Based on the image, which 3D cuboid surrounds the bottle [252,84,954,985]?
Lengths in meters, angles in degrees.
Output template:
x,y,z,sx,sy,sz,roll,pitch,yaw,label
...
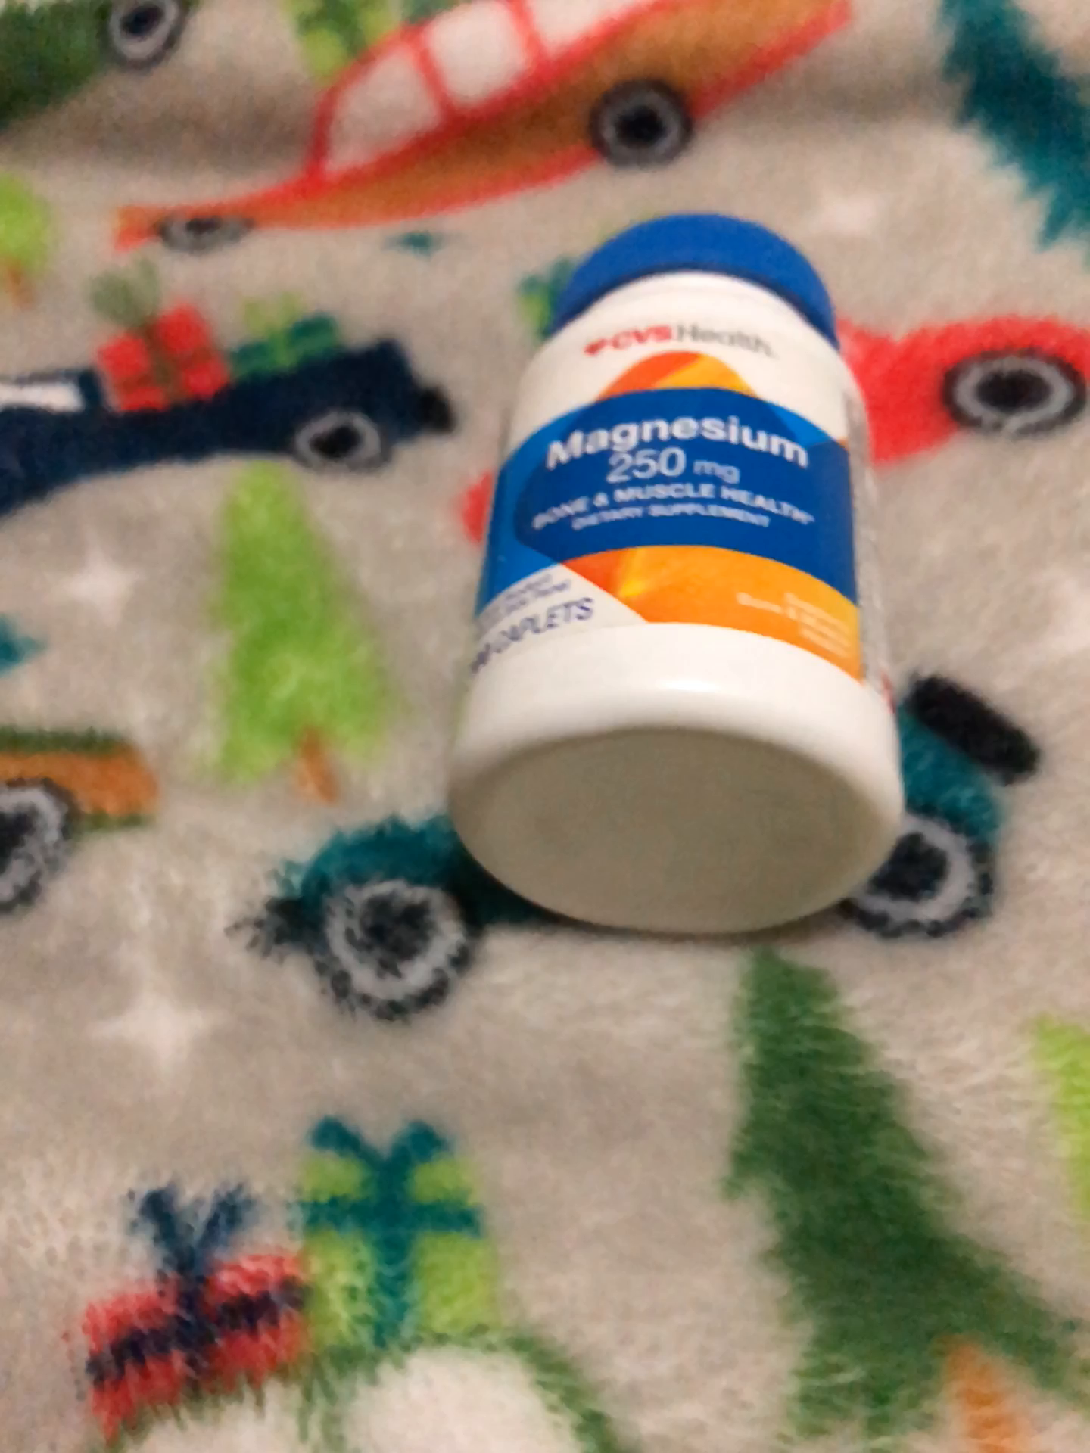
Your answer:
x,y,z,sx,sy,sz,roll,pitch,yaw,label
0.012,-0.025,0.155,0.060,0.050,0.100,-2,53,11,bottle
